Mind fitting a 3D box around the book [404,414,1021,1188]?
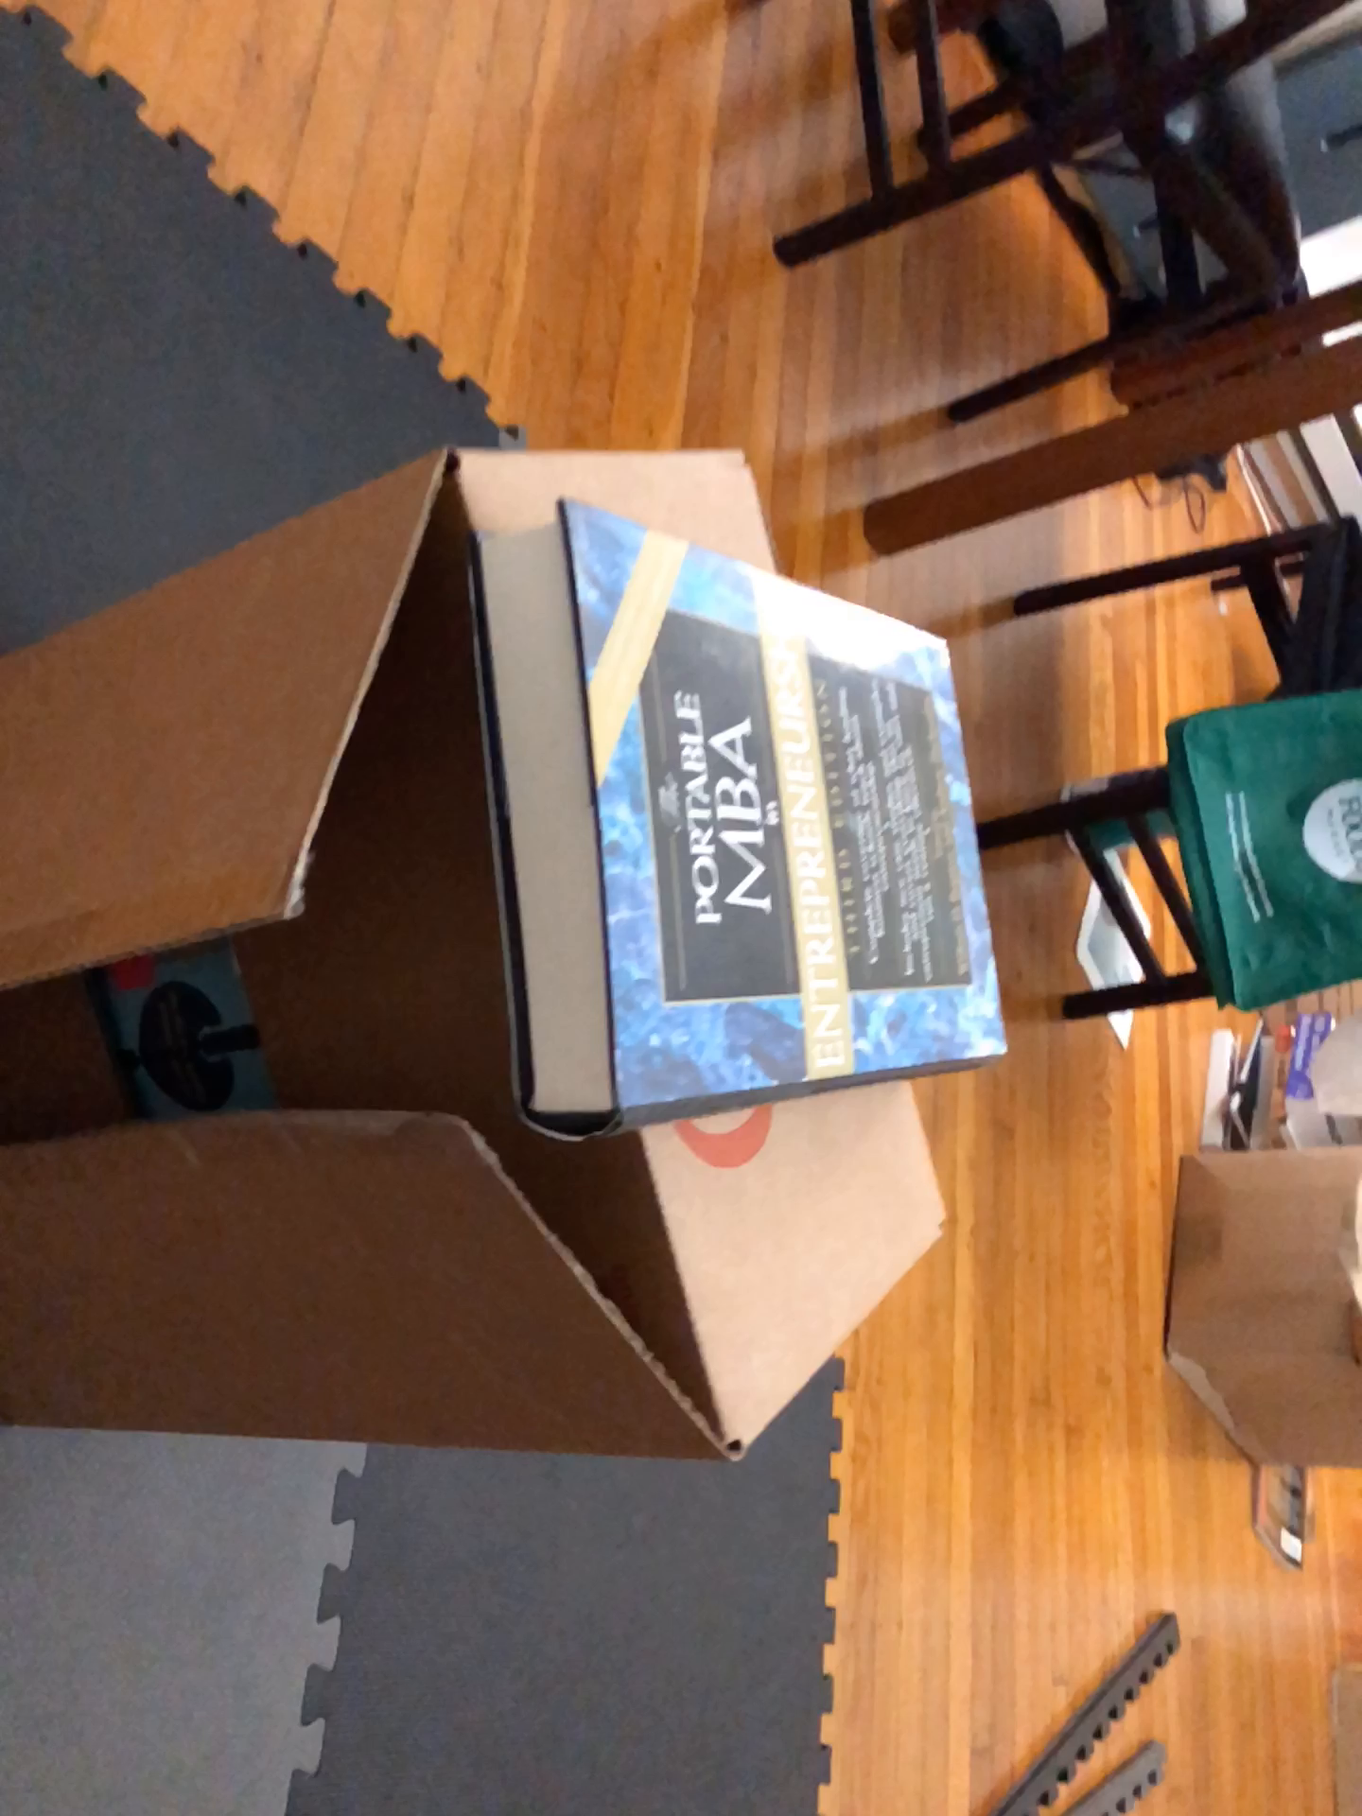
[{"bbox_3d":[0.029,-0.027,0.533,0.271,0.060,0.210,1,81,-57],"label":"book"}]
